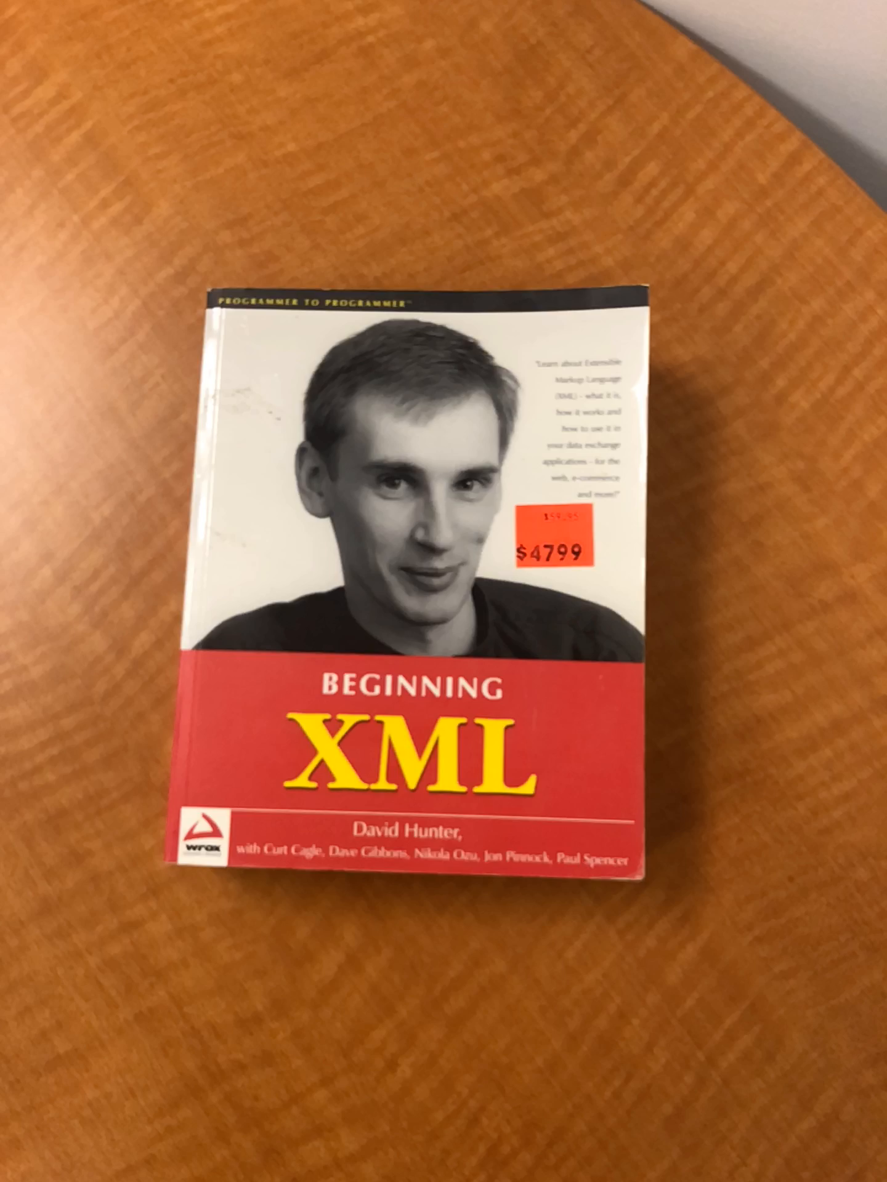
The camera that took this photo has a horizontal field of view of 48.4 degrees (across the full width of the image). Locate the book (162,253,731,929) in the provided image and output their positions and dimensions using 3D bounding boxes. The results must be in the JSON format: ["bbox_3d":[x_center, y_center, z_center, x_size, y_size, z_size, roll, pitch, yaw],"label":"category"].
[{"bbox_3d":[0.007,-0.003,0.437,0.220,0.070,0.270,3,81,2],"label":"book"}]
